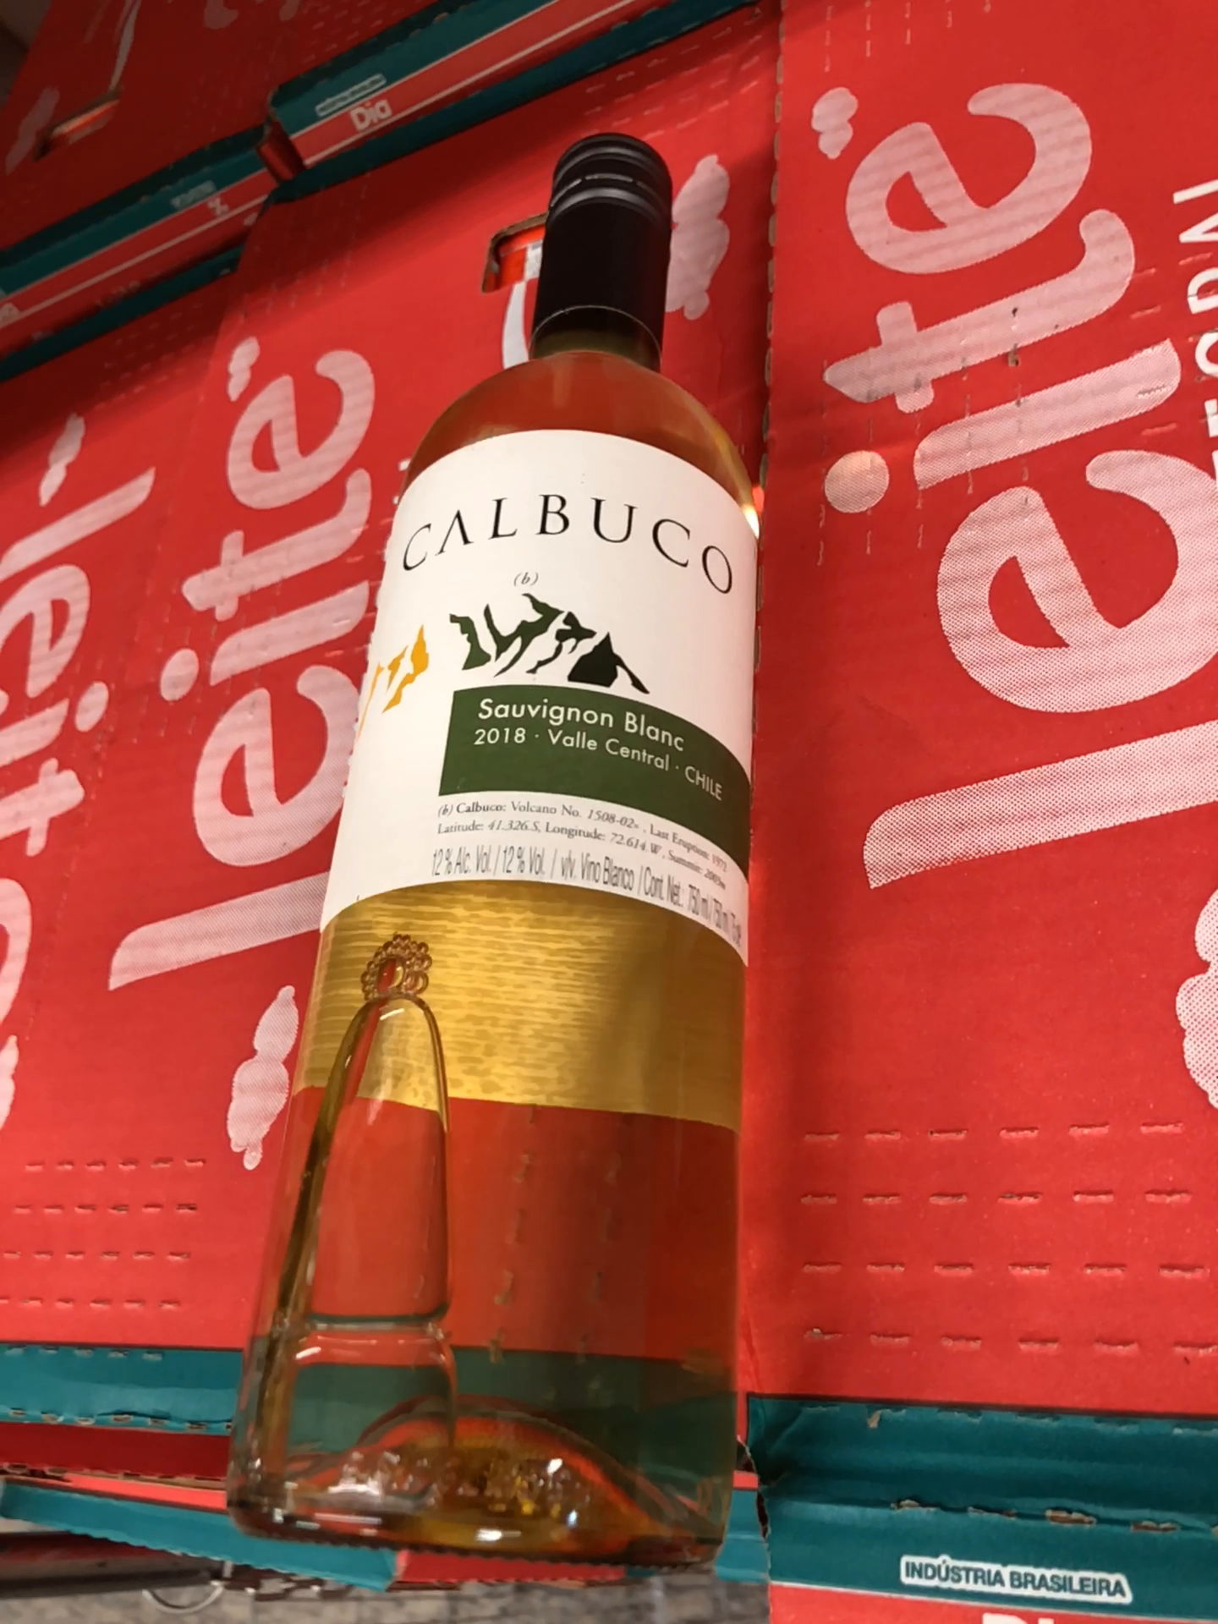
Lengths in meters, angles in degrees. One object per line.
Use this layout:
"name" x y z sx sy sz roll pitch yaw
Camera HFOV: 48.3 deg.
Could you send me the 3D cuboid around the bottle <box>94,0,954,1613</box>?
"bottle" -0.007 -0.029 0.248 0.090 0.100 0.291 6 65 -5
